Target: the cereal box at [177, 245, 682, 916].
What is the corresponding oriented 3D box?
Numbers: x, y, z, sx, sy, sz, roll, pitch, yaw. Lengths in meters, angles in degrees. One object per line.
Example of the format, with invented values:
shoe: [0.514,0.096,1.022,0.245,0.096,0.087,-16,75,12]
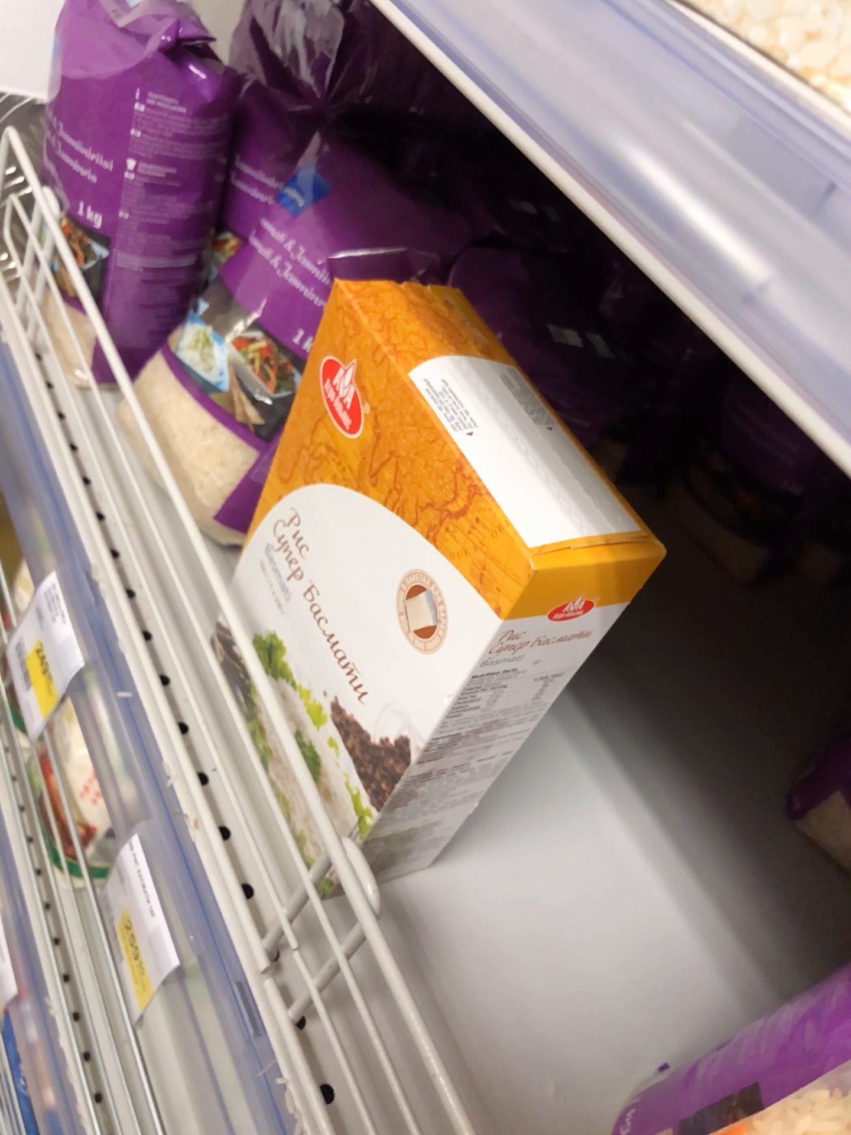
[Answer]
cereal box: [-0.019,0.009,0.343,0.060,0.189,0.140,-7,51,-35]
